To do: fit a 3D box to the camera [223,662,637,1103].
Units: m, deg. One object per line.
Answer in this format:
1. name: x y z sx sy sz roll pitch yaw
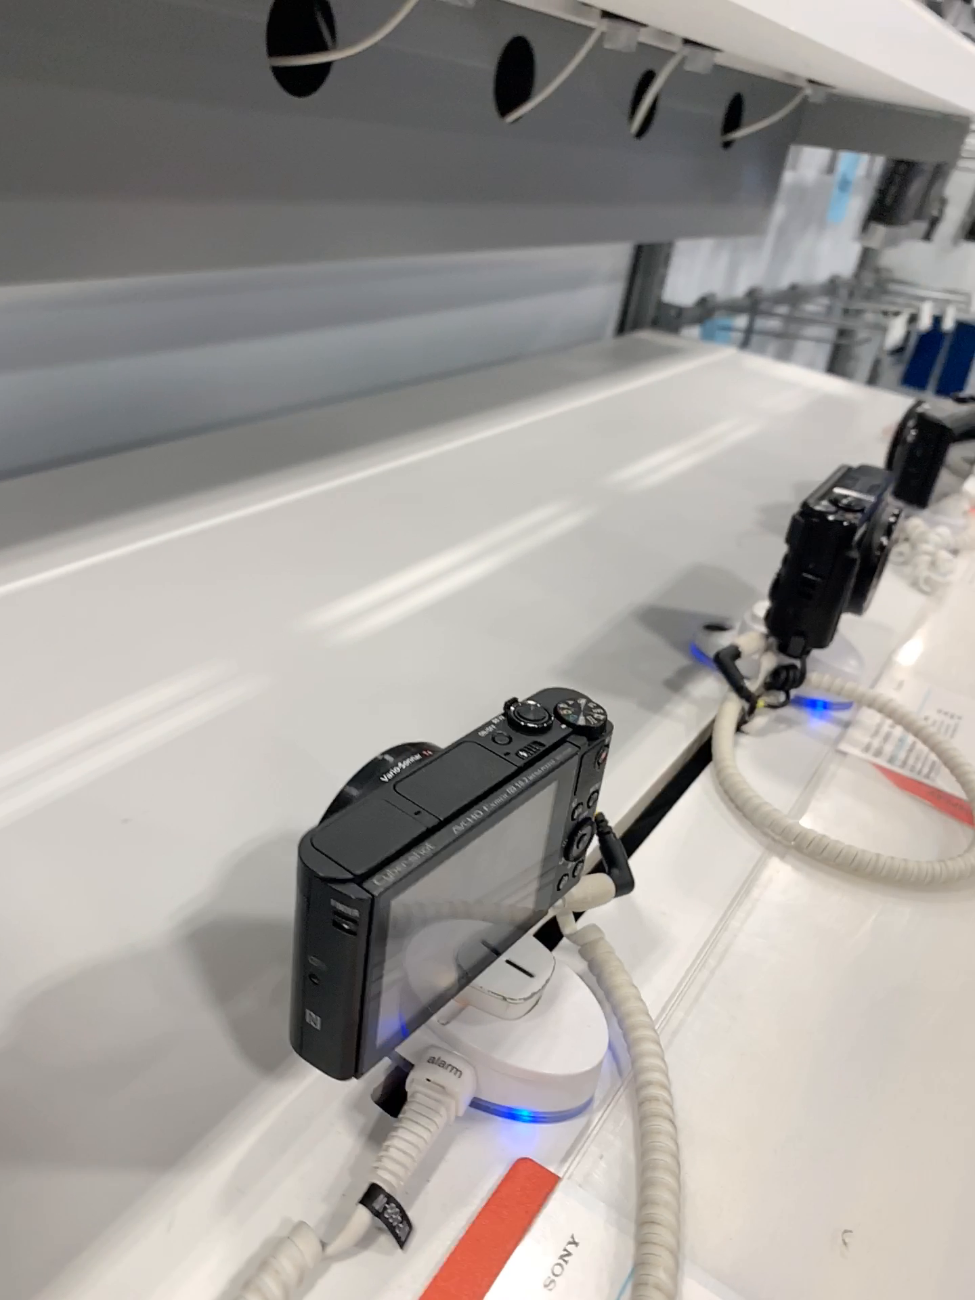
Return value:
1. camera: -0.011 0.050 0.252 0.040 0.052 0.104 25 31 28
